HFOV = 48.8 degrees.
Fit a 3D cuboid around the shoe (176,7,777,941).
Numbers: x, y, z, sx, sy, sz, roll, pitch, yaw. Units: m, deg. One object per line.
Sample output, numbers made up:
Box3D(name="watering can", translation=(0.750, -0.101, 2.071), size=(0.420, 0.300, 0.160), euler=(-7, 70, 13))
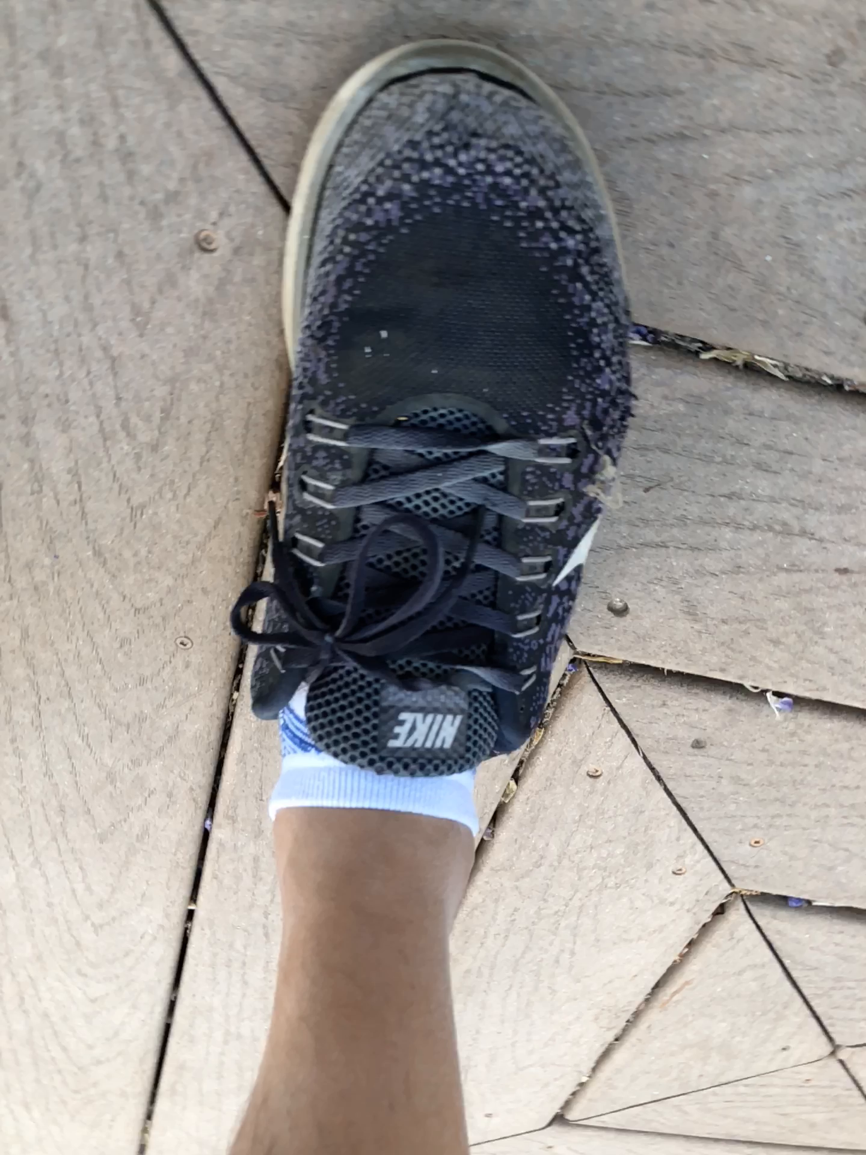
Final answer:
Box3D(name="shoe", translation=(-0.002, -0.014, 0.331), size=(0.130, 0.100, 0.301), euler=(4, 124, -2))
